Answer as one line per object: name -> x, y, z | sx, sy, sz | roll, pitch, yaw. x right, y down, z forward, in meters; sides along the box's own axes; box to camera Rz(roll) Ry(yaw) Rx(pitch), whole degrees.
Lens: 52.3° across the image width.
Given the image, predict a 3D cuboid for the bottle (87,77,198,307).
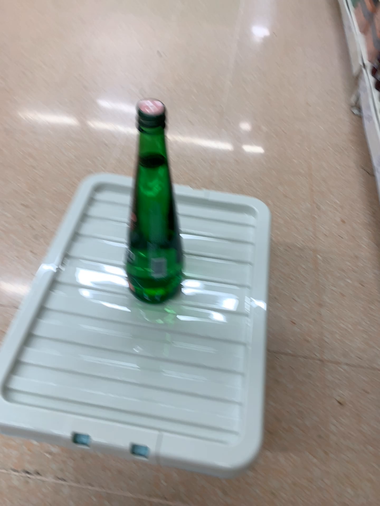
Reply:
bottle -> -0.050, -0.051, 0.478 | 0.085, 0.287, 0.091 | 2, 52, -3
